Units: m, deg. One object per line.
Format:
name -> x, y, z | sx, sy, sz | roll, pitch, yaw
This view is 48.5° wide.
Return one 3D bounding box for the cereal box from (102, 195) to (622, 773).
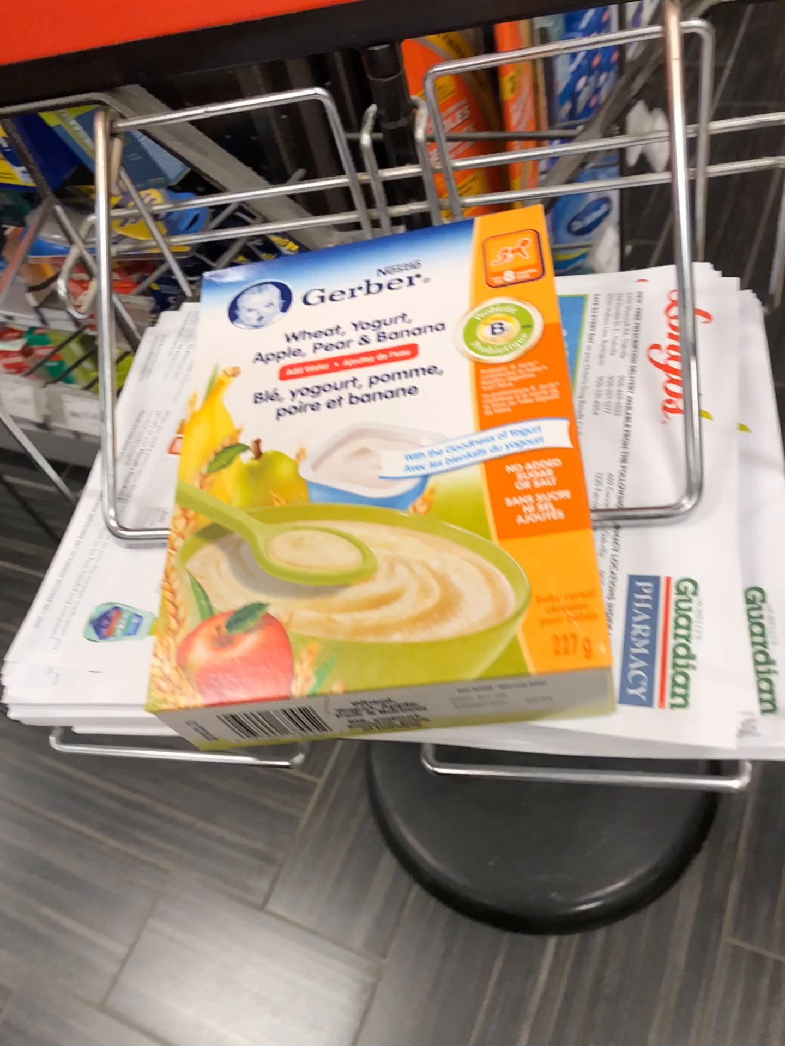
cereal box -> -0.010, -0.022, 0.322 | 0.150, 0.050, 0.200 | -9, 55, 11
